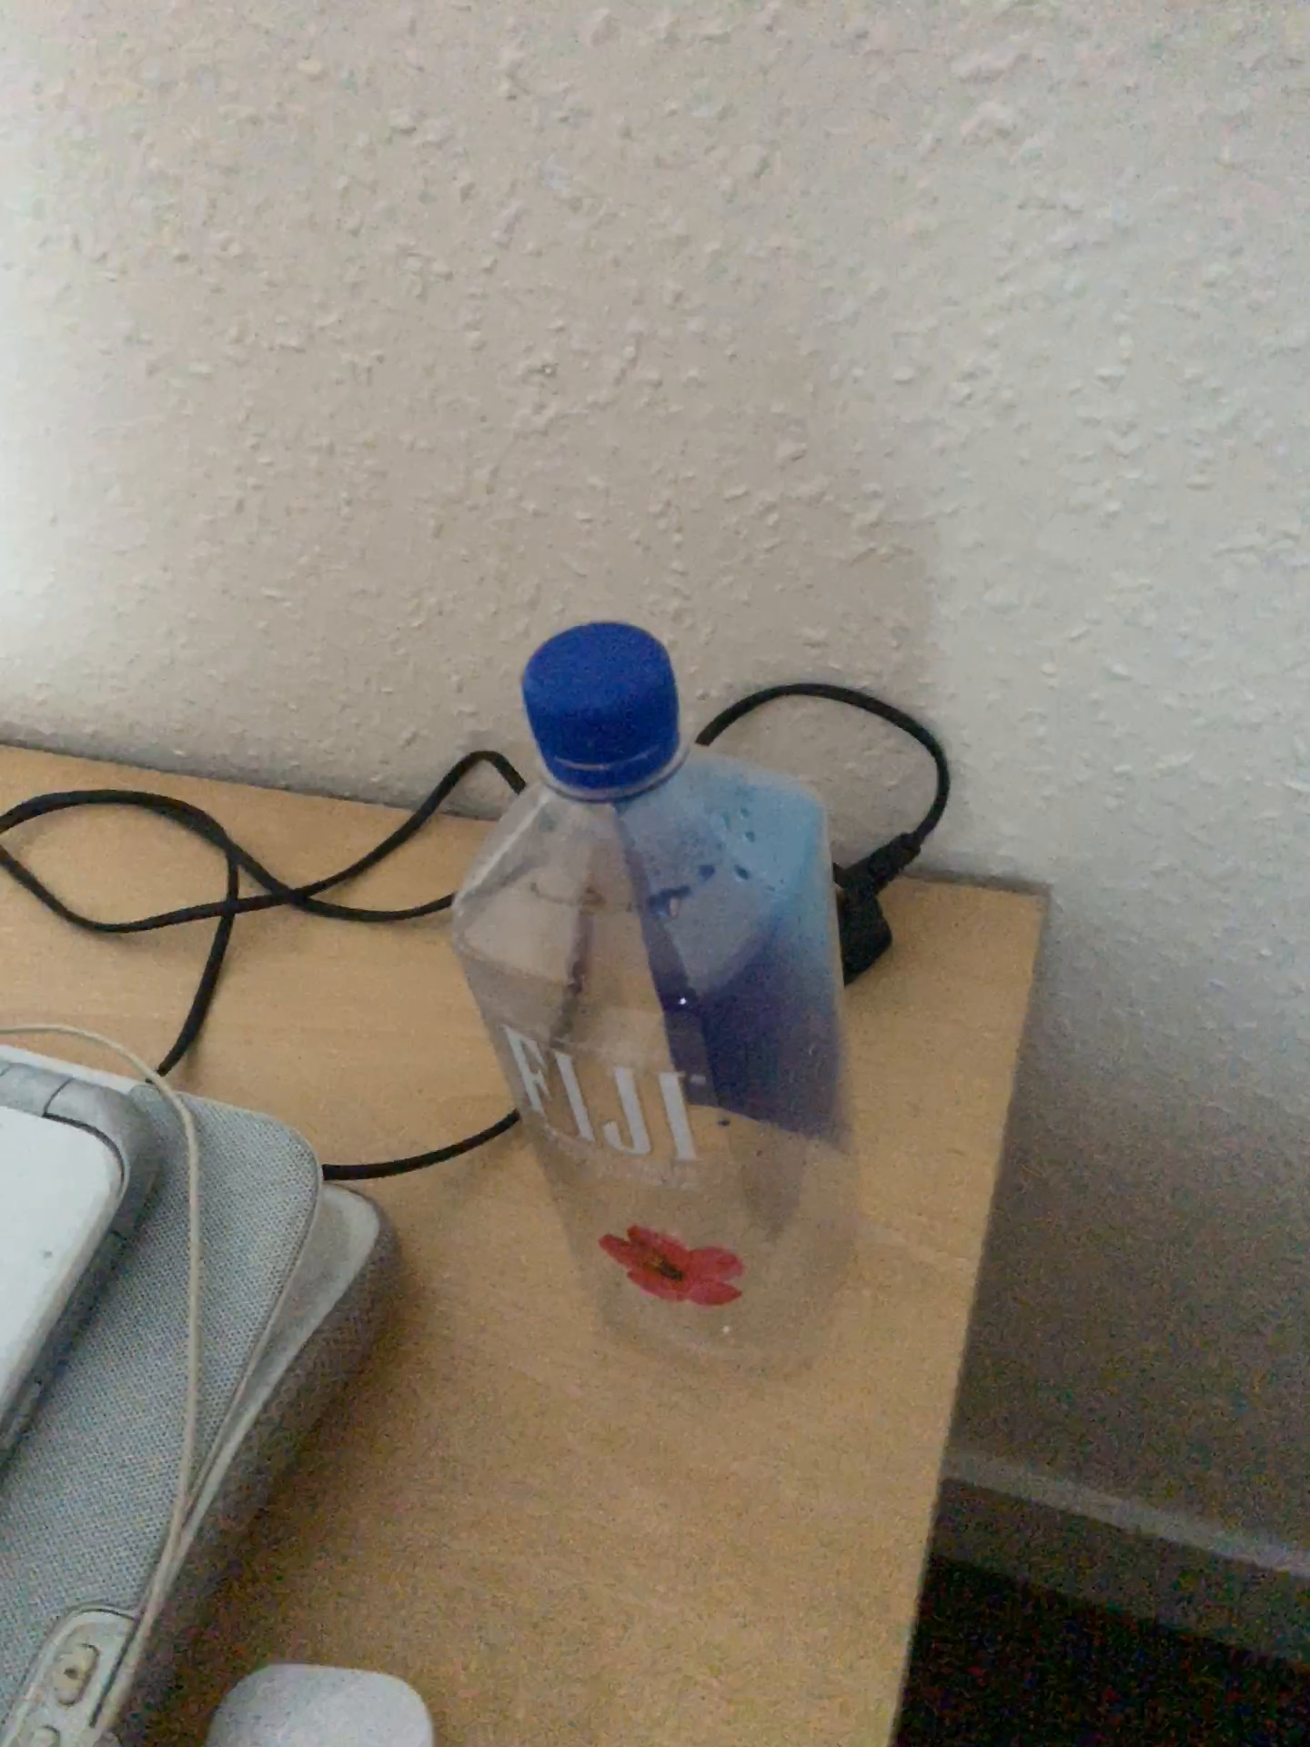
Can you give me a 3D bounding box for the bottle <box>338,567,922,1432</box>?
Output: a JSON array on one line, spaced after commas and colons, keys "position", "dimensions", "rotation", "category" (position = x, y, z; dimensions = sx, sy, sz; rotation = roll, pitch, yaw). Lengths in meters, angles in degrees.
[{"position": [0.010, 0.041, 0.329], "dimensions": [0.090, 0.208, 0.081], "rotation": [10, 47, 19], "category": "bottle"}]
